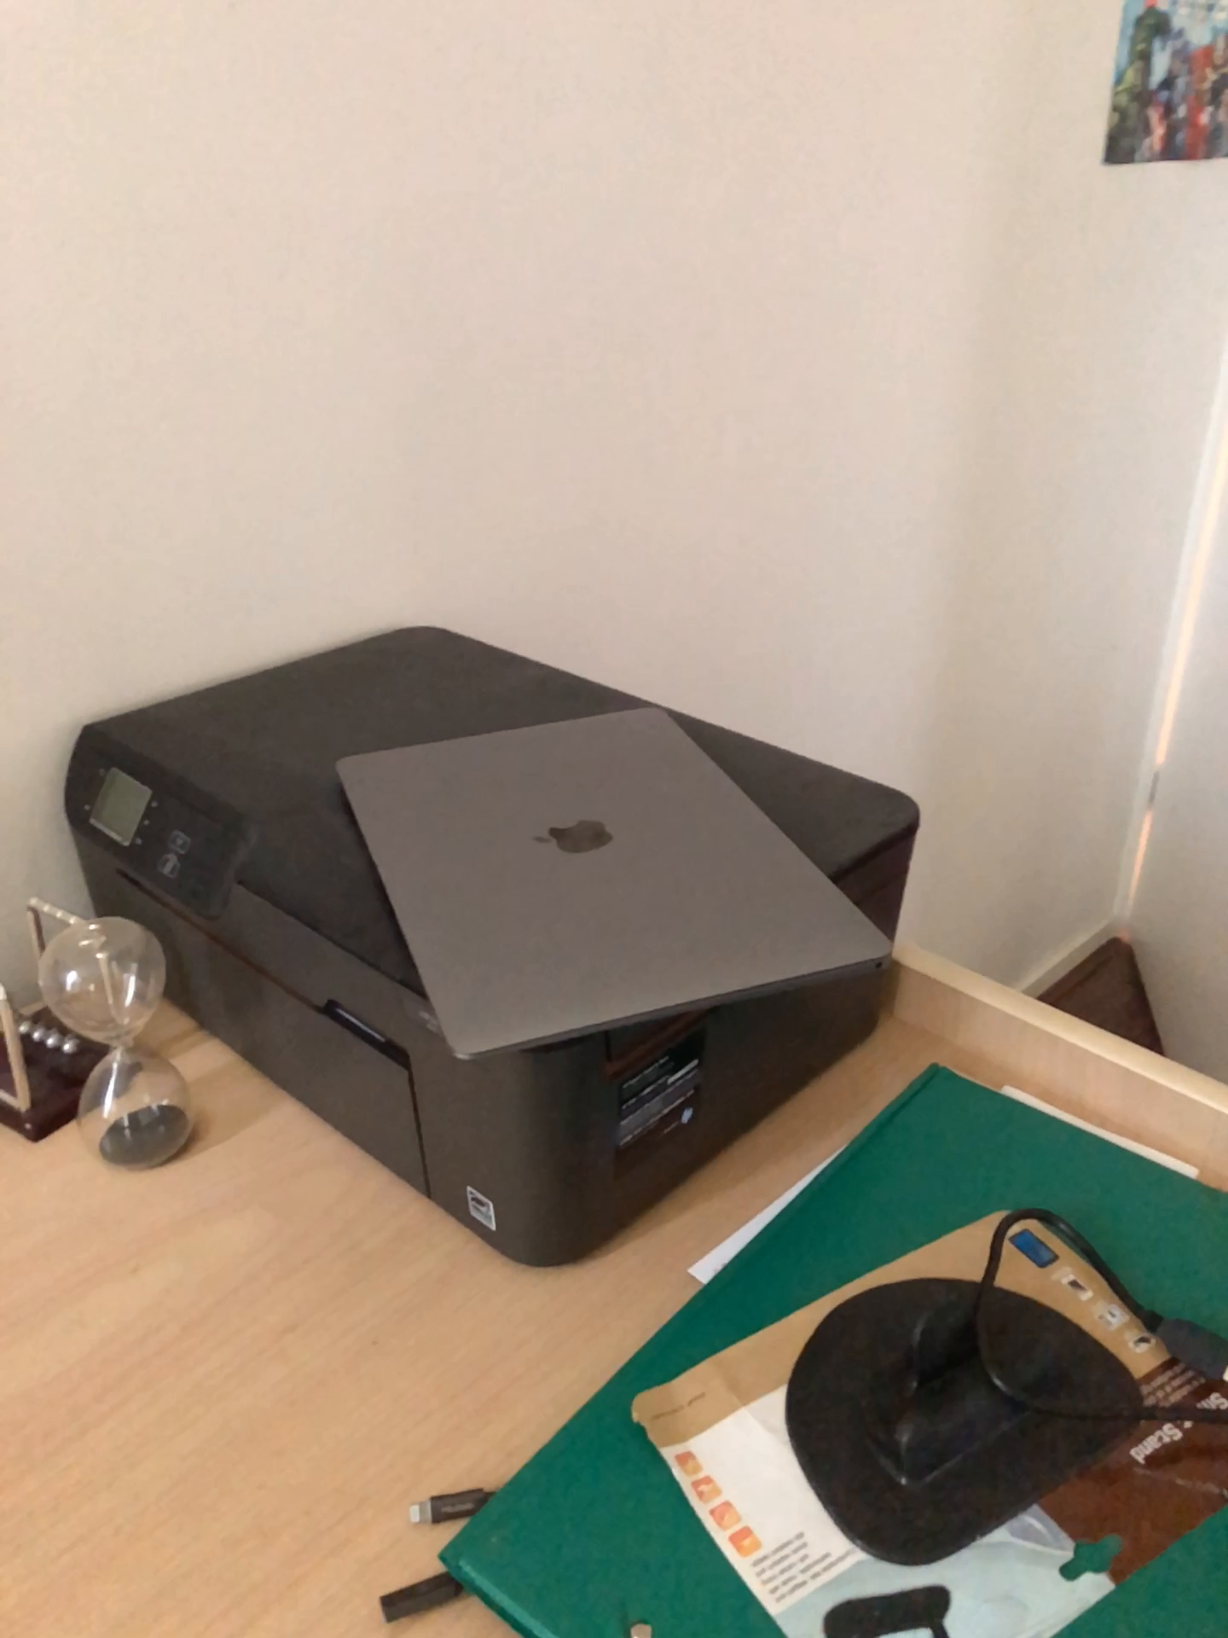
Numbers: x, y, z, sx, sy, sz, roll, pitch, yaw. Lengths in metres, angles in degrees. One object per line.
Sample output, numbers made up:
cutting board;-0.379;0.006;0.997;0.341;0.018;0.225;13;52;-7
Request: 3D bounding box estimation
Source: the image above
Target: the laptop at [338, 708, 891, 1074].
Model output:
laptop;-0.017;0.017;0.654;0.188;0.007;0.267;-11;31;-16
